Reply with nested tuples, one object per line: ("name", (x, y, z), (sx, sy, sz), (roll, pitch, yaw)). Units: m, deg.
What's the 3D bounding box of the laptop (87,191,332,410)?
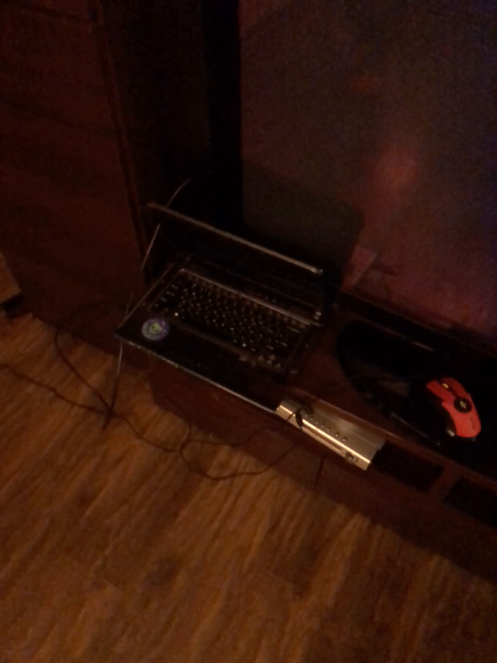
("laptop", (-0.062, -0.059, 0.950), (0.336, 0.183, 0.200), (24, 56, 16))
